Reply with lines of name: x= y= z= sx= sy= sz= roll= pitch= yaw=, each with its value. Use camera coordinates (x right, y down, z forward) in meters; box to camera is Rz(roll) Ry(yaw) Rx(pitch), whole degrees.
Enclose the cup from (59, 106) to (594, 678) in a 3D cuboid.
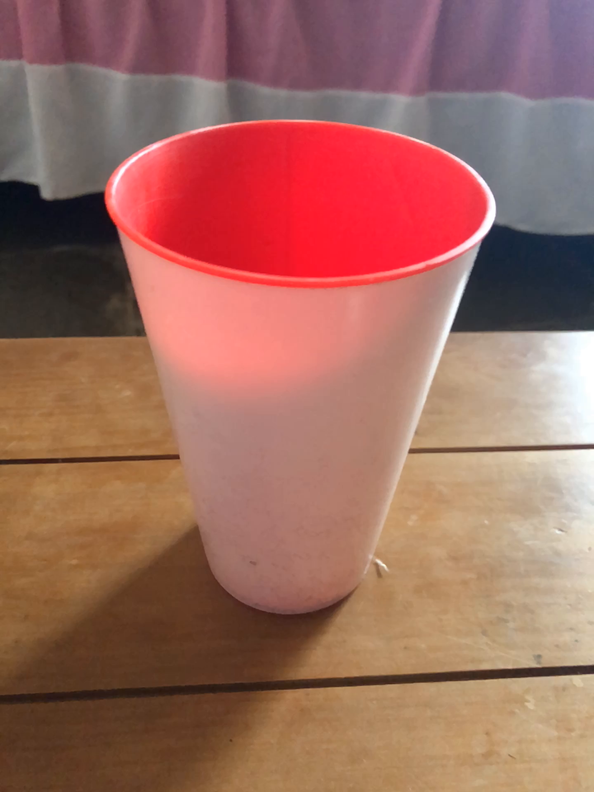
cup: x=0.000 y=-0.003 z=0.186 sx=0.090 sy=0.119 sz=0.101 roll=-2 pitch=40 yaw=-6
